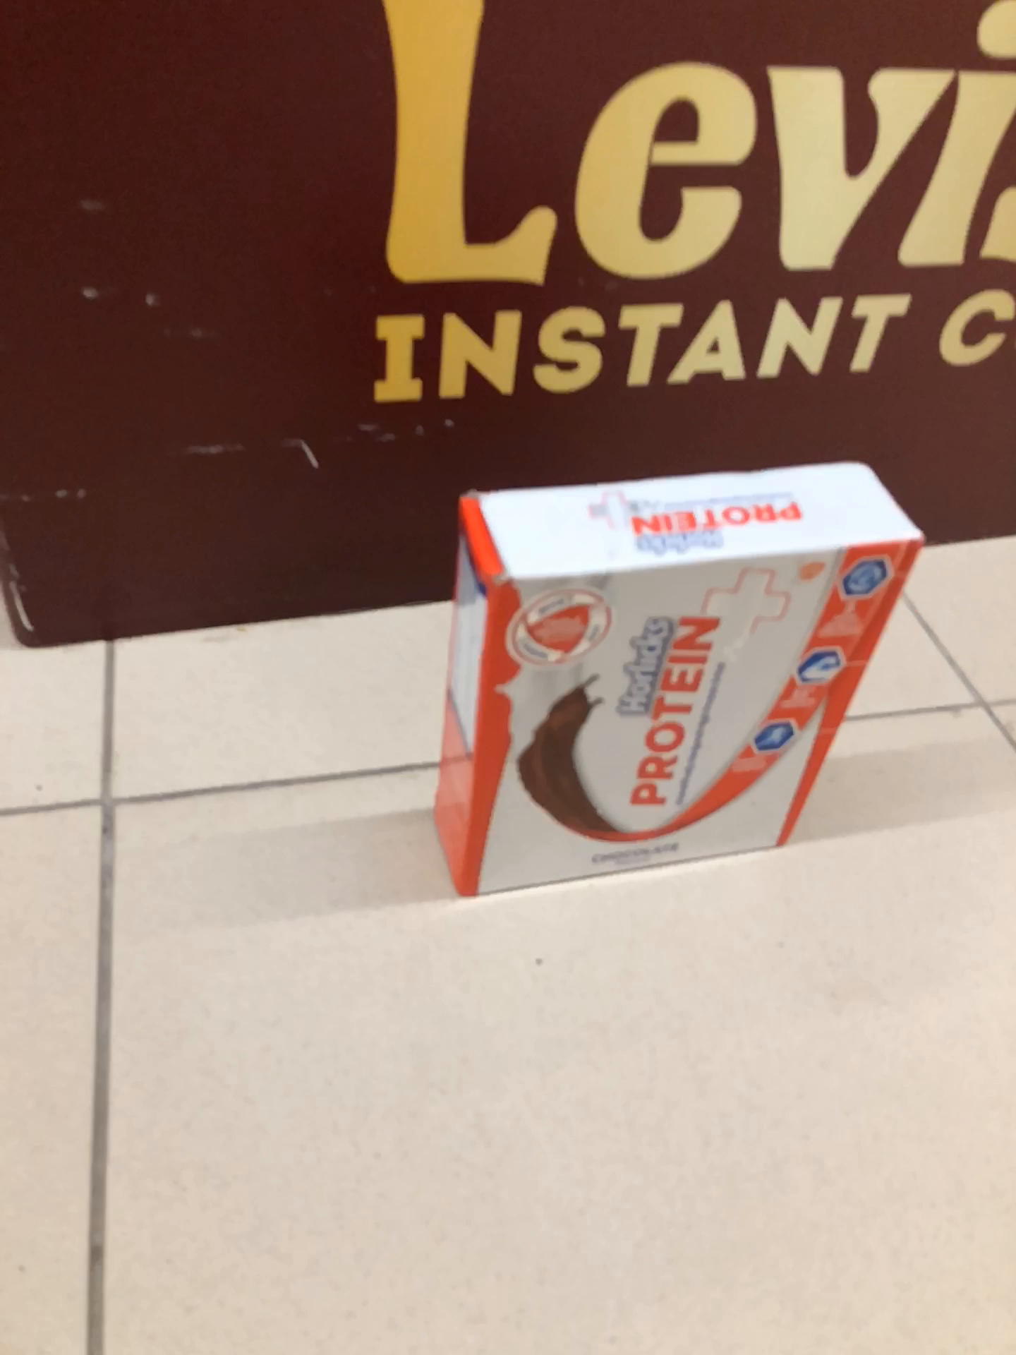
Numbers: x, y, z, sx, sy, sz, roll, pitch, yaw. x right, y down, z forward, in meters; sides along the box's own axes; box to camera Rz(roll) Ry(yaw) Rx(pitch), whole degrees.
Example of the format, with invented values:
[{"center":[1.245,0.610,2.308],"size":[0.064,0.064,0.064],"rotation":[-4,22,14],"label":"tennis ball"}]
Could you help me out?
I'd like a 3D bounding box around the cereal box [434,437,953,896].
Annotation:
[{"center":[0.052,0.000,0.379],"size":[0.140,0.149,0.050],"rotation":[-7,45,-15],"label":"cereal box"}]
